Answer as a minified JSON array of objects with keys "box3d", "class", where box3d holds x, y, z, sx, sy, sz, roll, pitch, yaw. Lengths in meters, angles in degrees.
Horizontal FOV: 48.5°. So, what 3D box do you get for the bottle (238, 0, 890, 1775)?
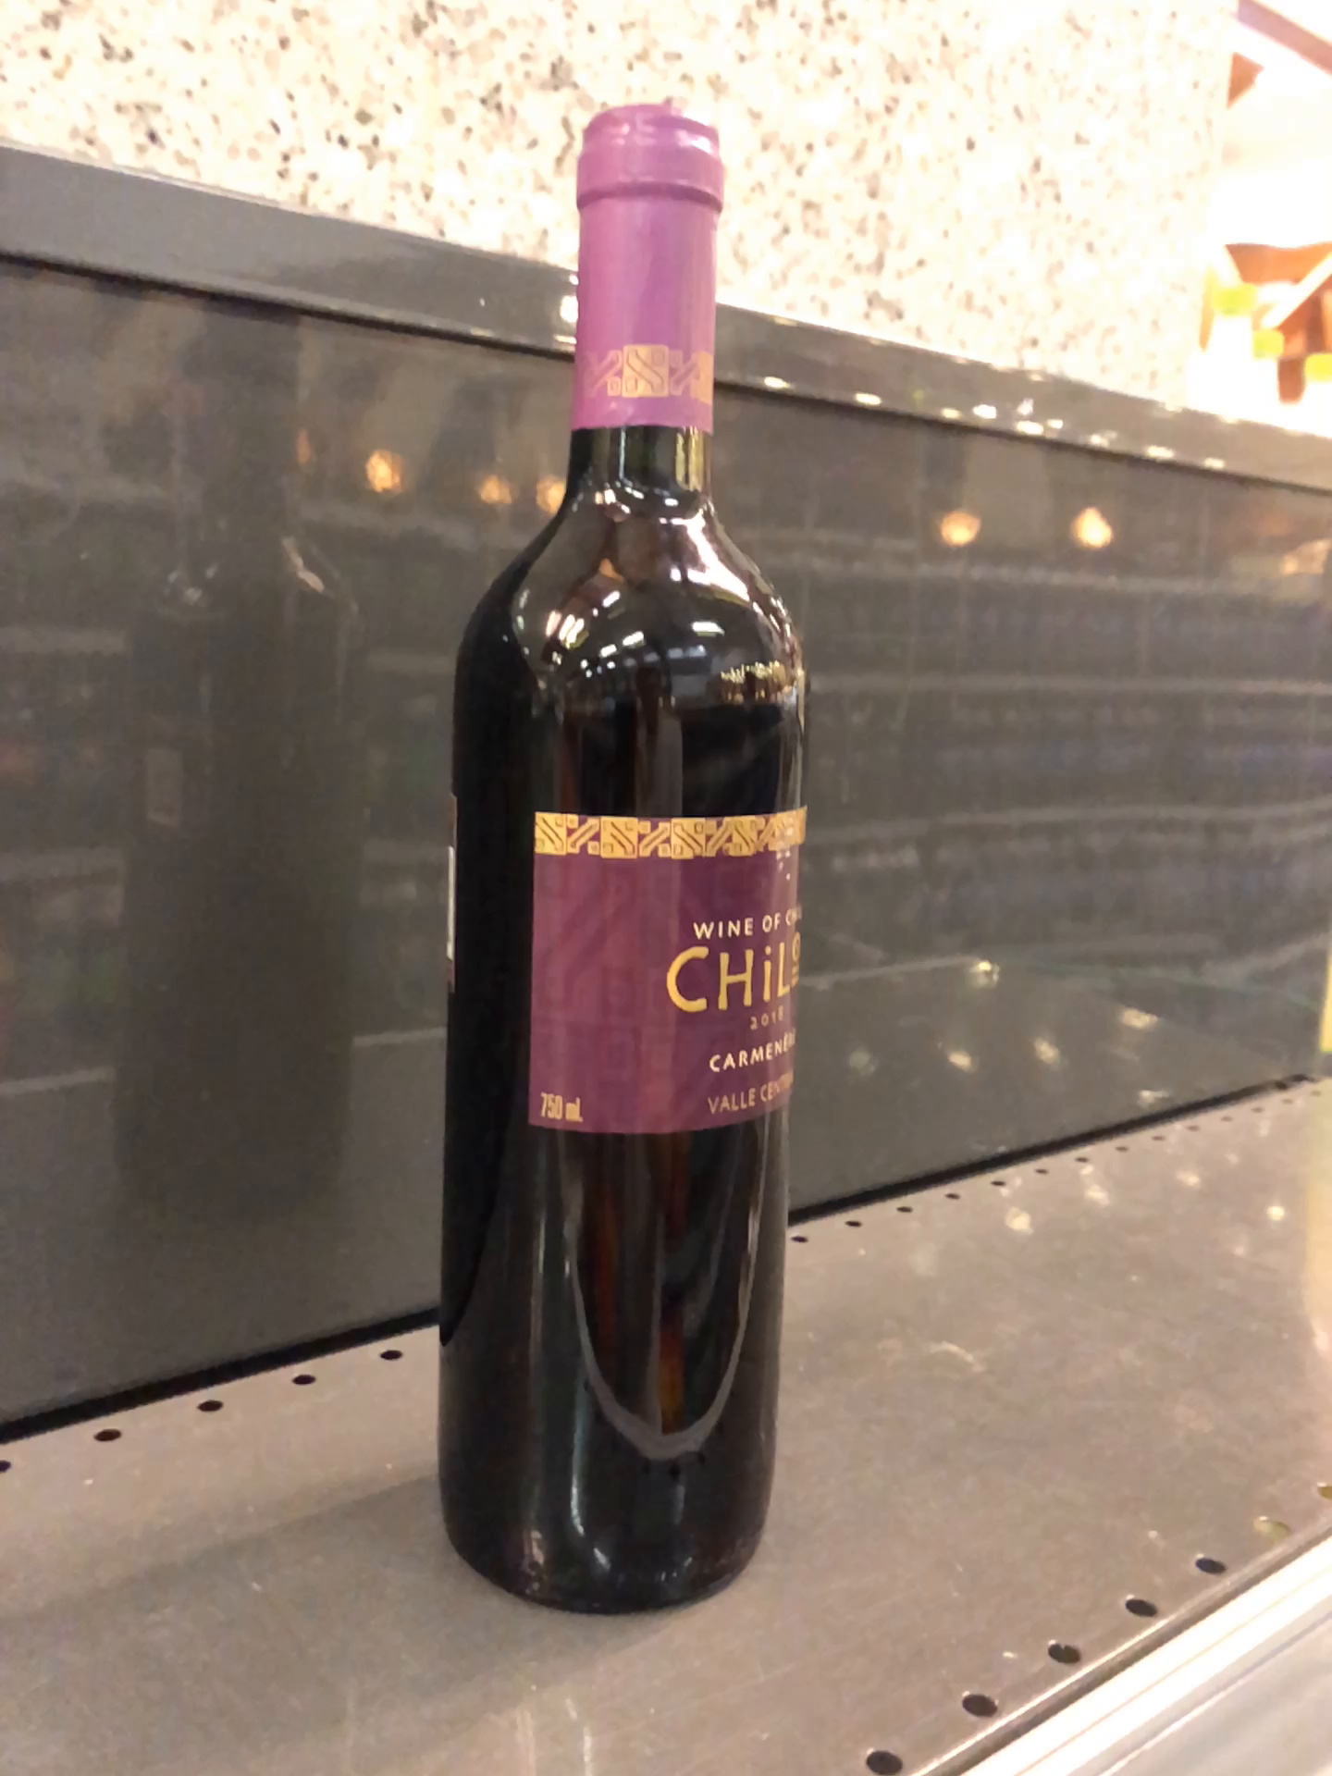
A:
[{"box3d":[-0.024,-0.003,0.307,0.080,0.319,0.090,11,12,36],"class":"bottle"}]
